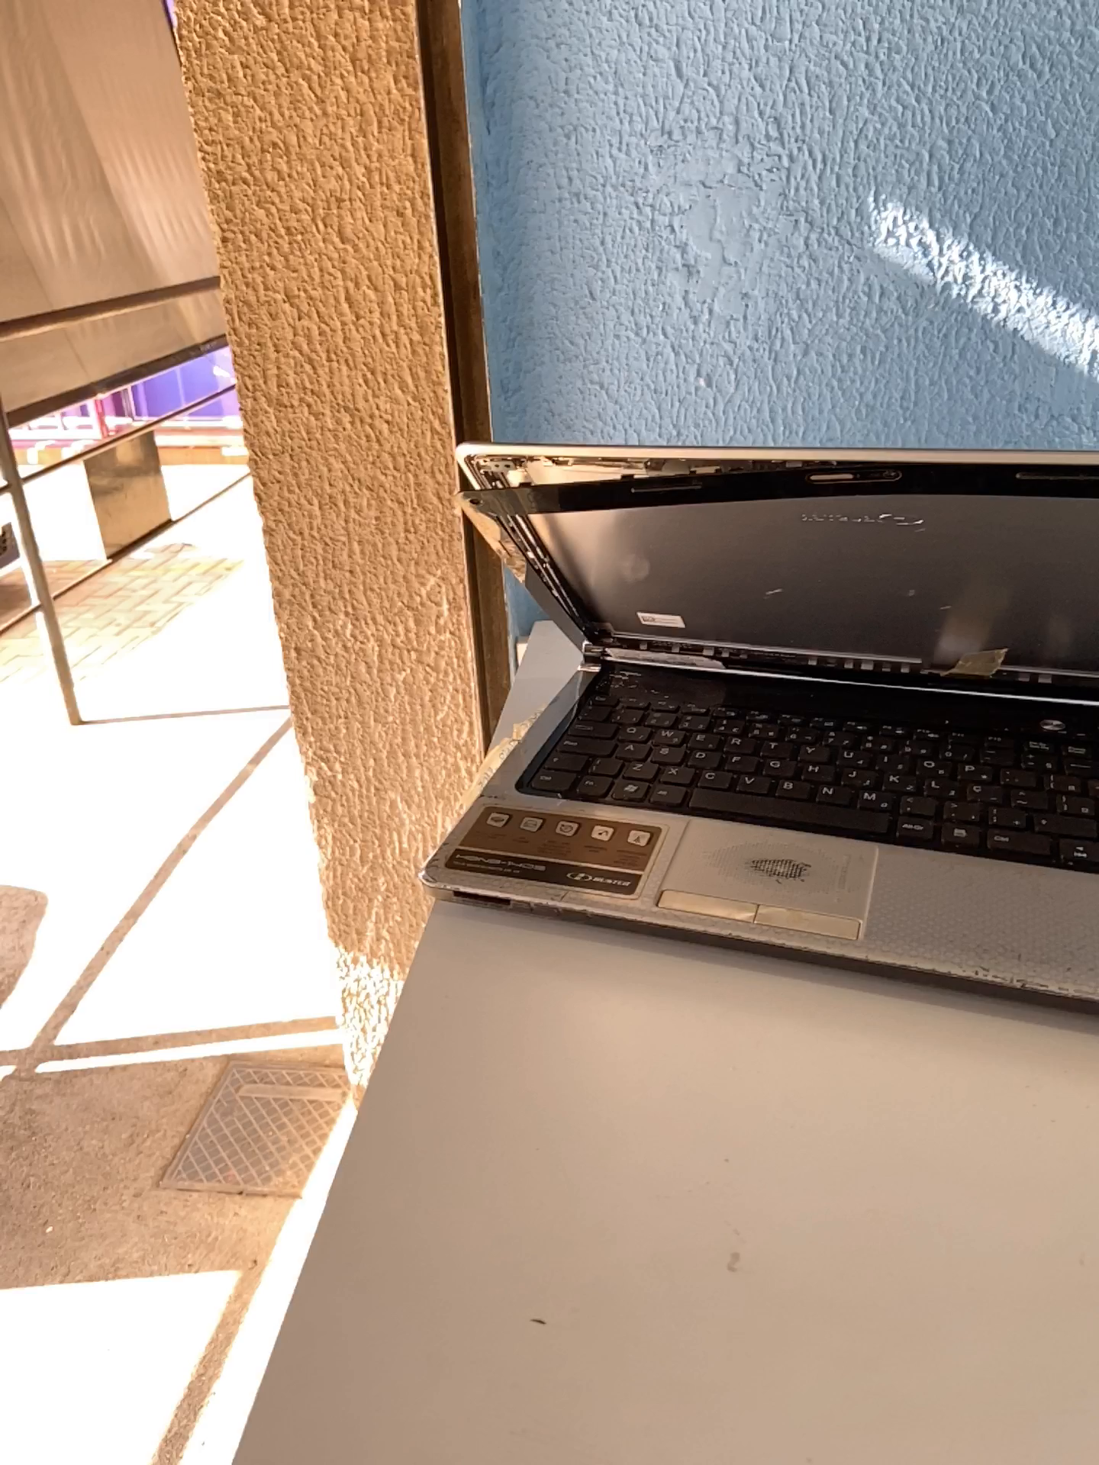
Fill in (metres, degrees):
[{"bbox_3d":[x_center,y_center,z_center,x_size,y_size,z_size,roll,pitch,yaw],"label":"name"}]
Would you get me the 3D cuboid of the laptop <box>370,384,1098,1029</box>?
[{"bbox_3d":[0.131,-0.044,0.488,0.326,0.160,0.233,6,28,20],"label":"laptop"}]
